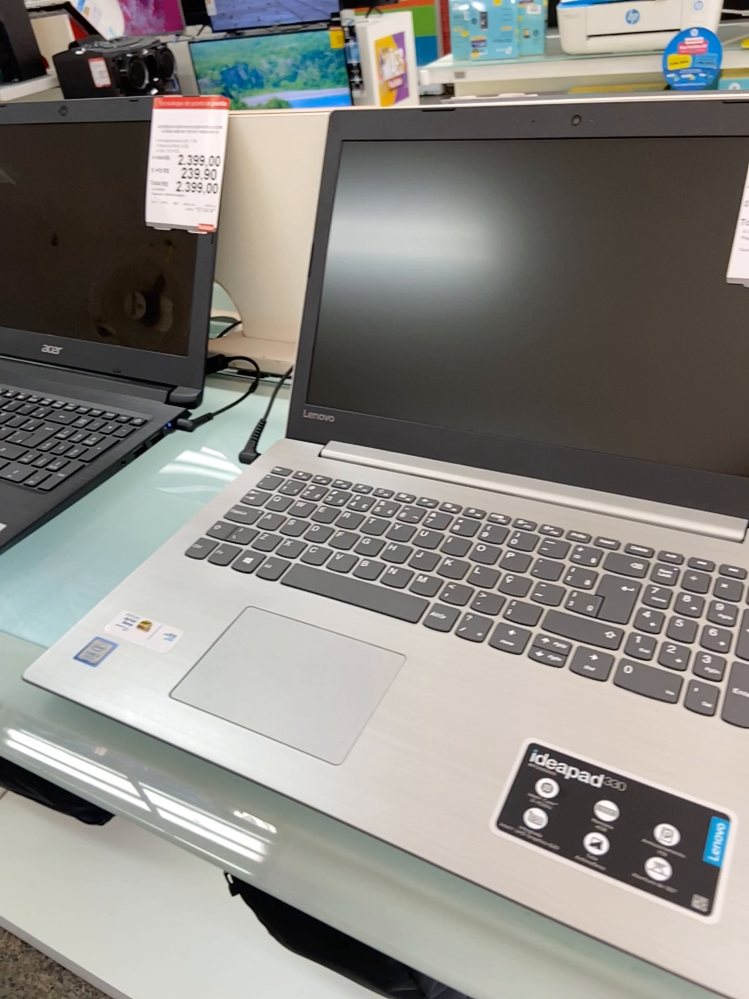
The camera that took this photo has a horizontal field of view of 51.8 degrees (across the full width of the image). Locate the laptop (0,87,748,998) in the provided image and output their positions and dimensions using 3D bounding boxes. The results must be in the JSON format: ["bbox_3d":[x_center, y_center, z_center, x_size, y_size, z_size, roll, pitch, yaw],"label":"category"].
[{"bbox_3d":[0.048,-0.059,0.409,0.371,0.194,0.391,12,41,27],"label":"laptop"}]
